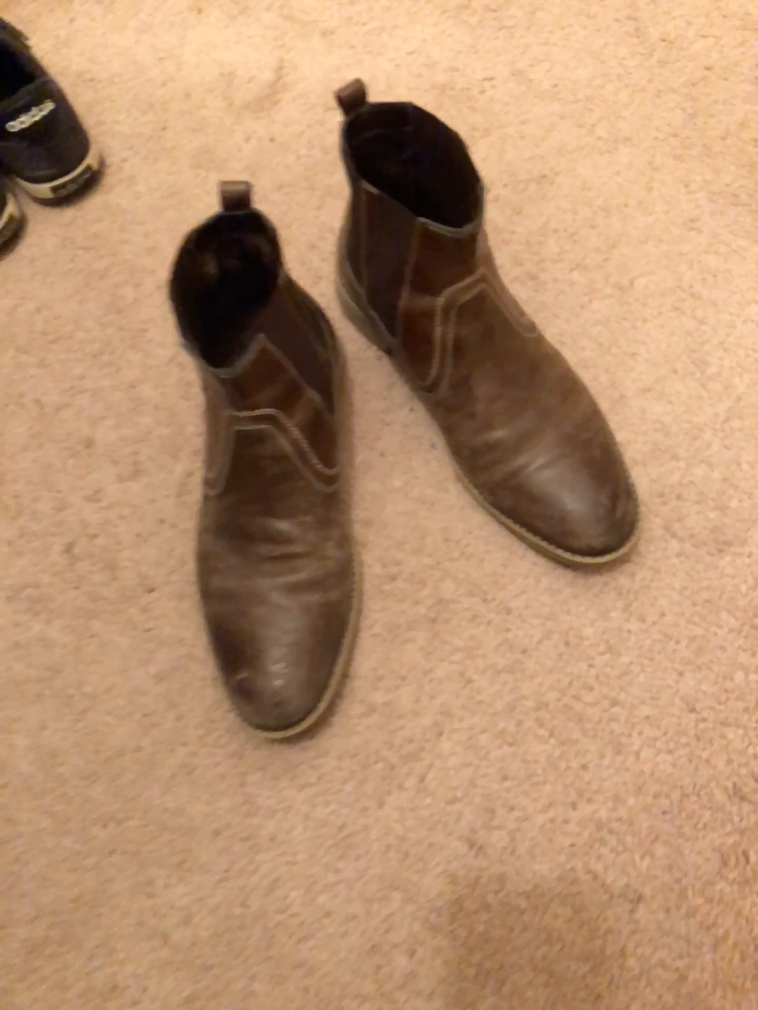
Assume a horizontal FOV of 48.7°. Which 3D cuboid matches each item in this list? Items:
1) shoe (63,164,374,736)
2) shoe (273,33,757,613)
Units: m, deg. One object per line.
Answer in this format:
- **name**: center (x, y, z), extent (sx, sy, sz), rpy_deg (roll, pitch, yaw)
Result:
- **shoe**: center (-0.073, -0.024, 0.499), extent (0.118, 0.158, 0.299), rpy_deg (-1, 69, 6)
- **shoe**: center (0.070, -0.108, 0.516), extent (0.118, 0.158, 0.299), rpy_deg (-29, 69, -5)
